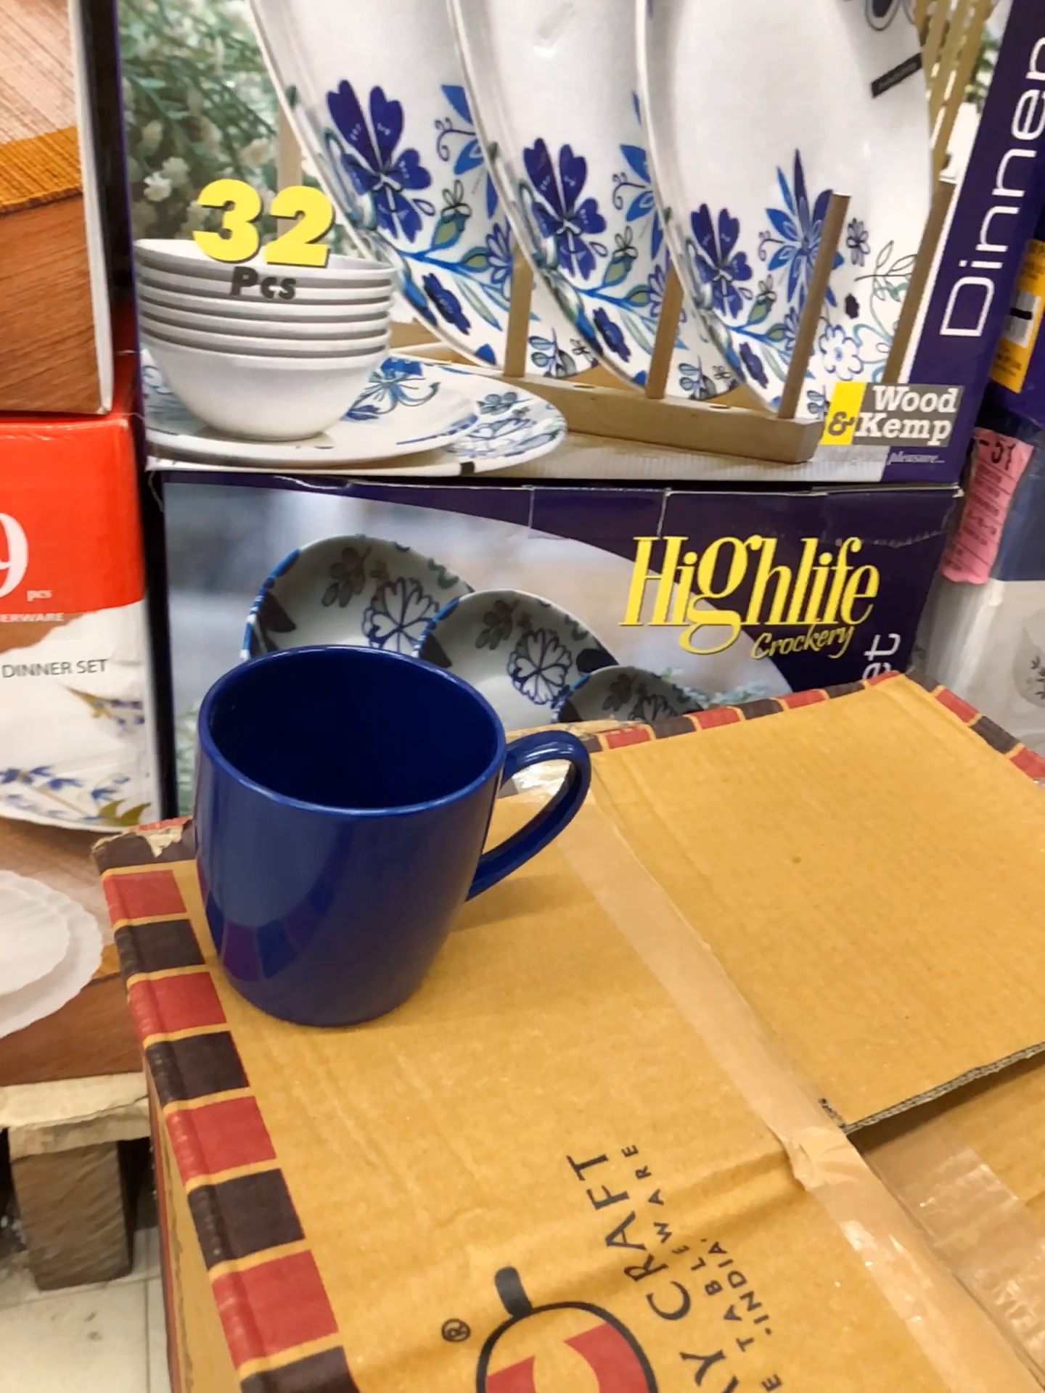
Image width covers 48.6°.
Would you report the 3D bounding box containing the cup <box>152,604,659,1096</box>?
[{"bbox_3d":[-0.033,0.032,0.286,0.100,0.079,0.070,-6,34,-22],"label":"cup"}]
